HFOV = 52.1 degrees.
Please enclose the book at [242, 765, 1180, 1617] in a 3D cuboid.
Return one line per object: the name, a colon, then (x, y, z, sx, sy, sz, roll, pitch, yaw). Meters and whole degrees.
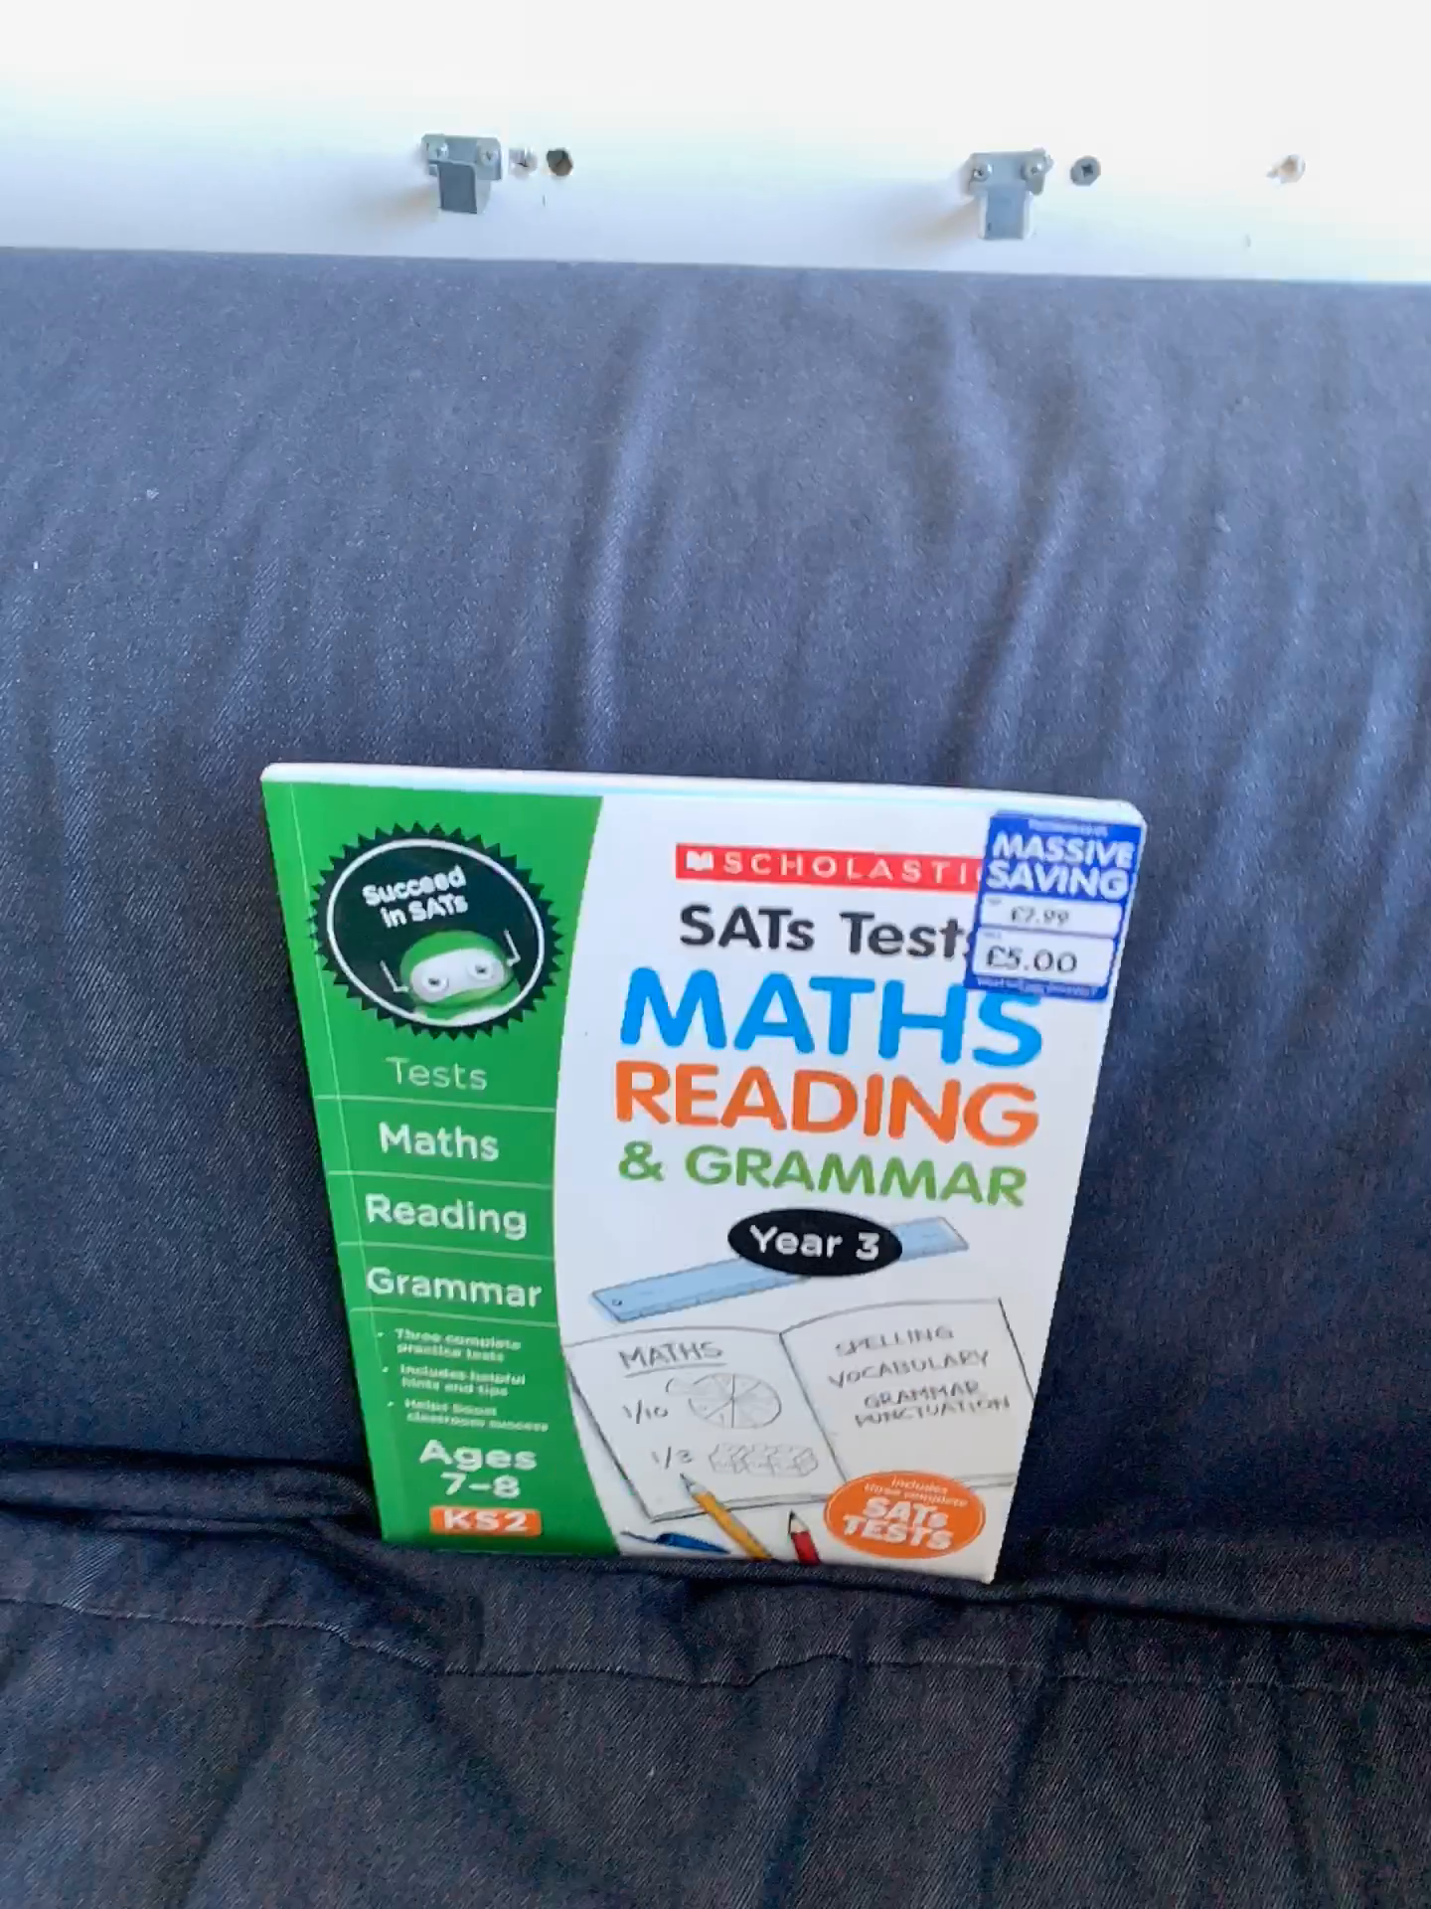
book: (-0.004, 0.087, 0.416, 0.209, 0.293, 0.022, 3, 34, 3)
